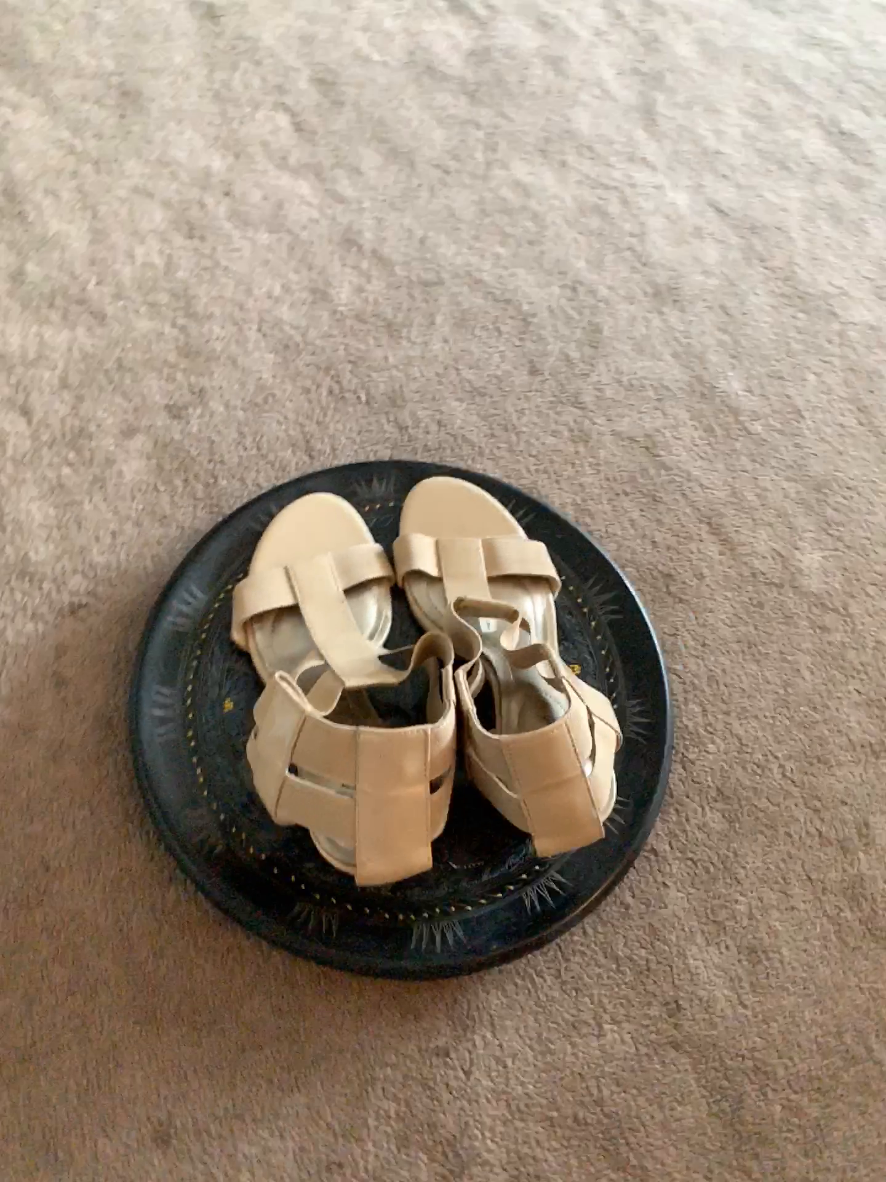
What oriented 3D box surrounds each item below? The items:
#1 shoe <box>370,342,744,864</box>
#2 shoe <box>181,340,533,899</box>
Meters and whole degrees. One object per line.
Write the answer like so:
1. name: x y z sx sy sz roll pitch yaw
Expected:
1. shoe: 0.041 0.004 0.449 0.090 0.099 0.221 -14 68 -13
2. shoe: -0.047 0.011 0.420 0.100 0.099 0.221 -10 67 -12
